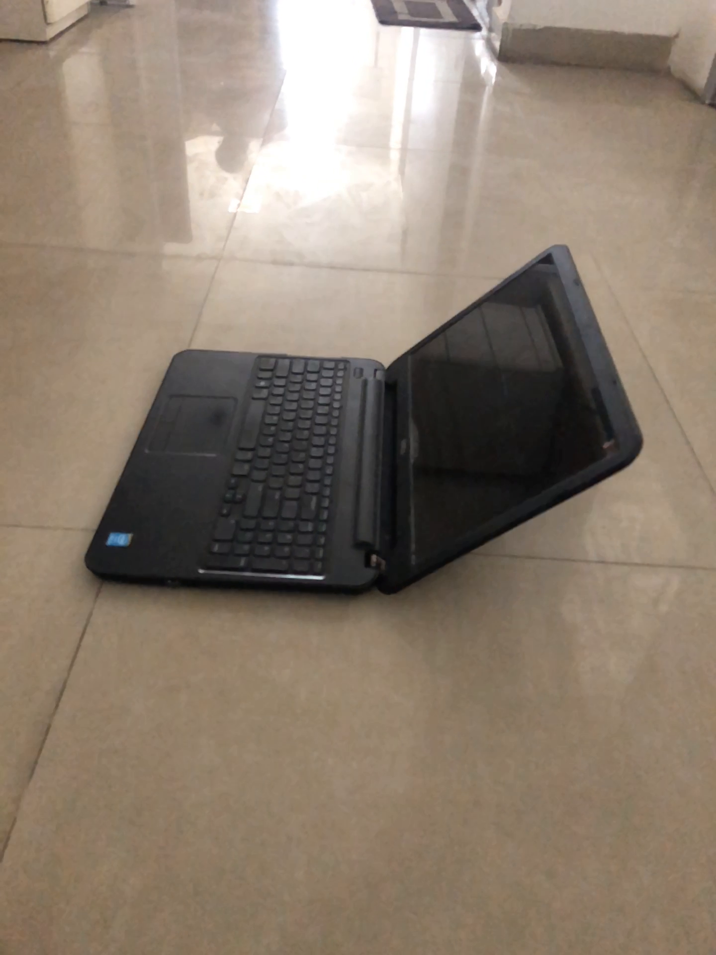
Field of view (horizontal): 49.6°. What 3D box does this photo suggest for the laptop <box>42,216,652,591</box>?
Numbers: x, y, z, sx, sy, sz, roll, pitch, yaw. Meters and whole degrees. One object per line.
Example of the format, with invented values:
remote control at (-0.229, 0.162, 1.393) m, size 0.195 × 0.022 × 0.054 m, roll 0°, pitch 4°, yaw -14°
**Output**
laptop at (-0.005, -0.092, 0.733) m, size 0.427 × 0.163 × 0.360 m, roll 3°, pitch 40°, yaw 1°
